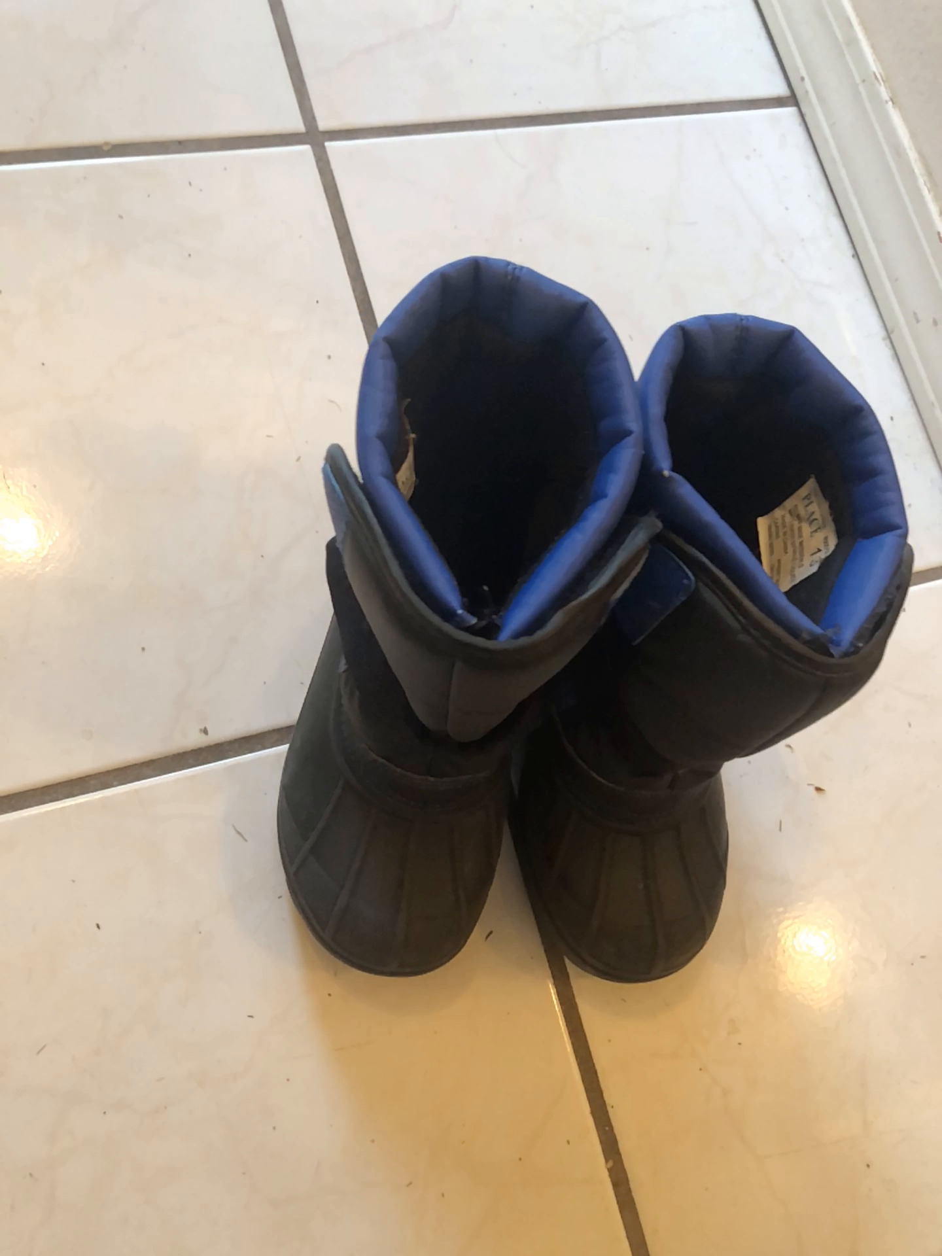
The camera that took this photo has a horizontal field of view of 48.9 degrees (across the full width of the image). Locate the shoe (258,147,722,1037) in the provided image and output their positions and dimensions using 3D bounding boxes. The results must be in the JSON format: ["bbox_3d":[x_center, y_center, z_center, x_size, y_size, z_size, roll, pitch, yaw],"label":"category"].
[{"bbox_3d":[-0.012,0.007,0.359,0.100,0.200,0.230,4,73,-13],"label":"shoe"}]

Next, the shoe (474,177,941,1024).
[{"bbox_3d":[0.077,0.007,0.397,0.100,0.200,0.250,2,74,-13],"label":"shoe"}]
